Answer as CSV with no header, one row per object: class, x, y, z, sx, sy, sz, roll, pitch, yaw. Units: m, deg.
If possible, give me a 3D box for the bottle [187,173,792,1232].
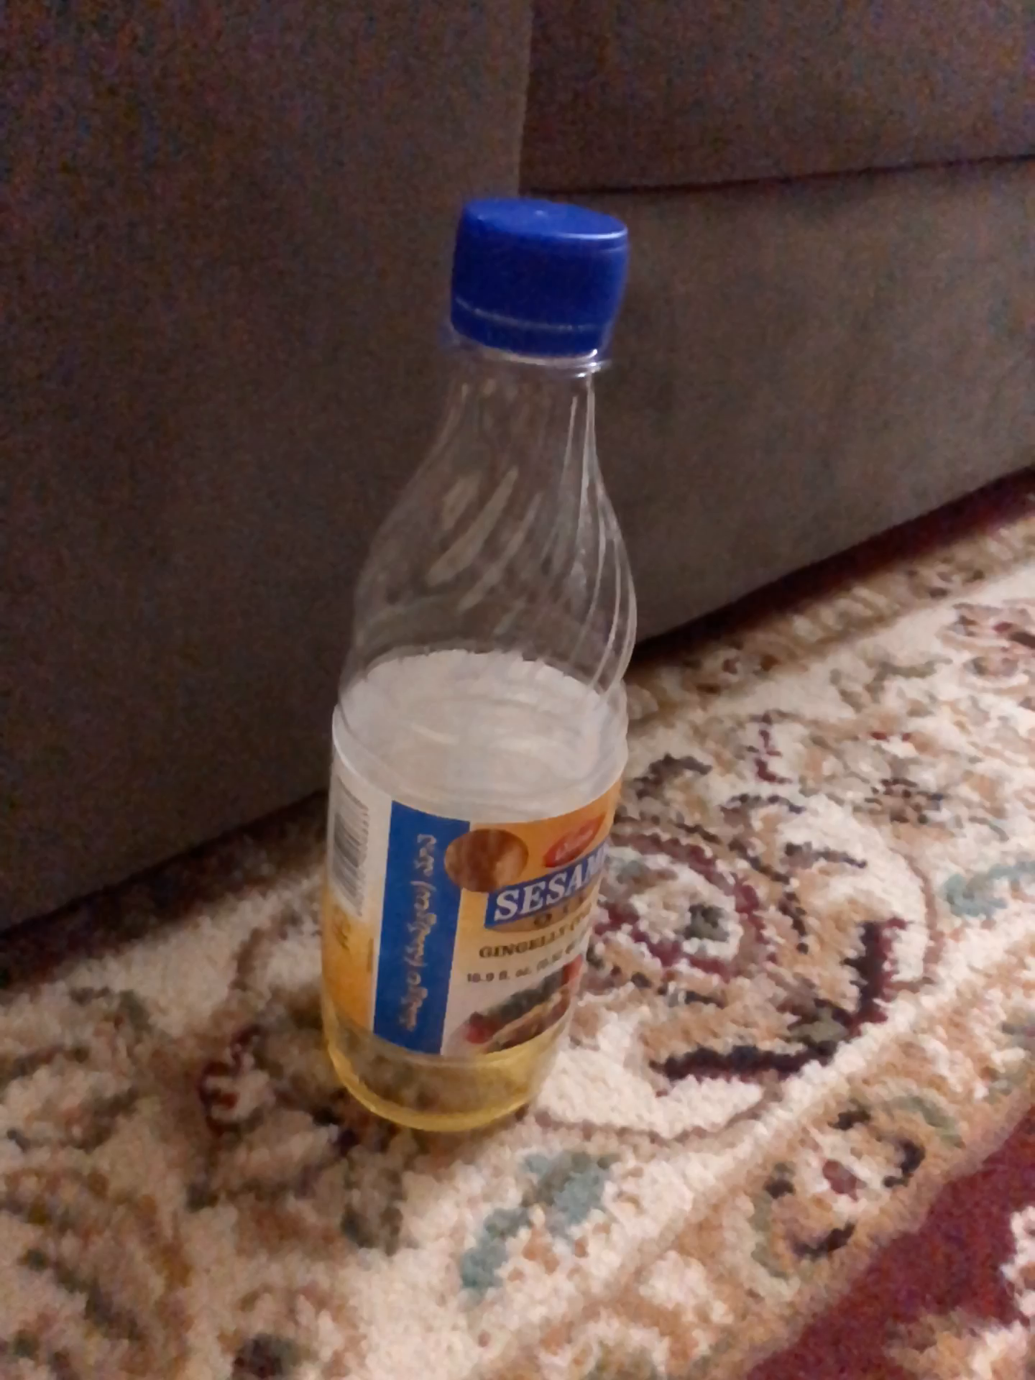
bottle,-0.012,0.008,0.240,0.070,0.199,0.070,3,32,-2
